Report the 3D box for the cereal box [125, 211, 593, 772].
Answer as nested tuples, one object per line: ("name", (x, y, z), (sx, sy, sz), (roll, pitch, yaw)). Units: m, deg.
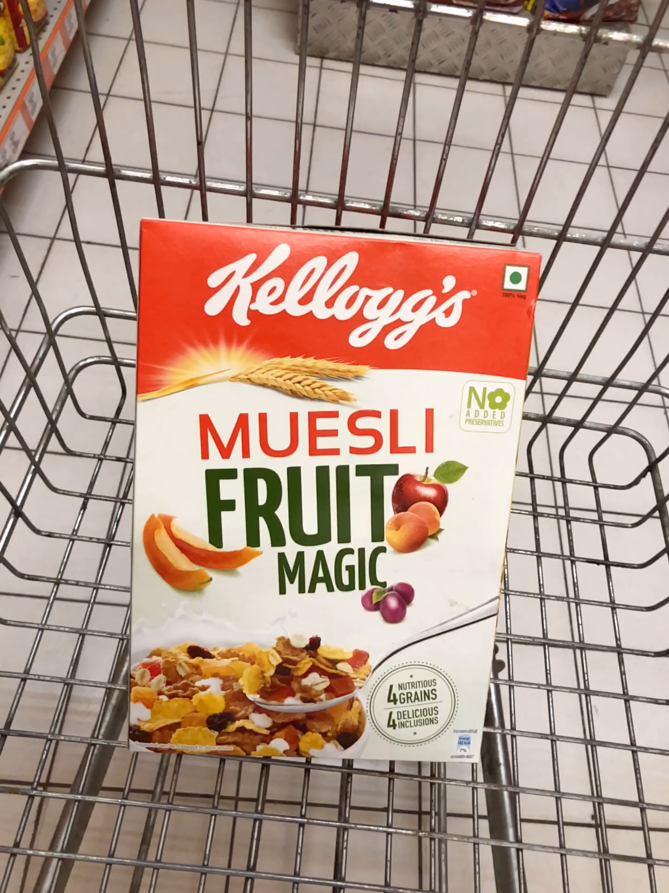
("cereal box", (0.002, 0.027, 0.394), (0.200, 0.269, 0.080), (4, 14, -5))
